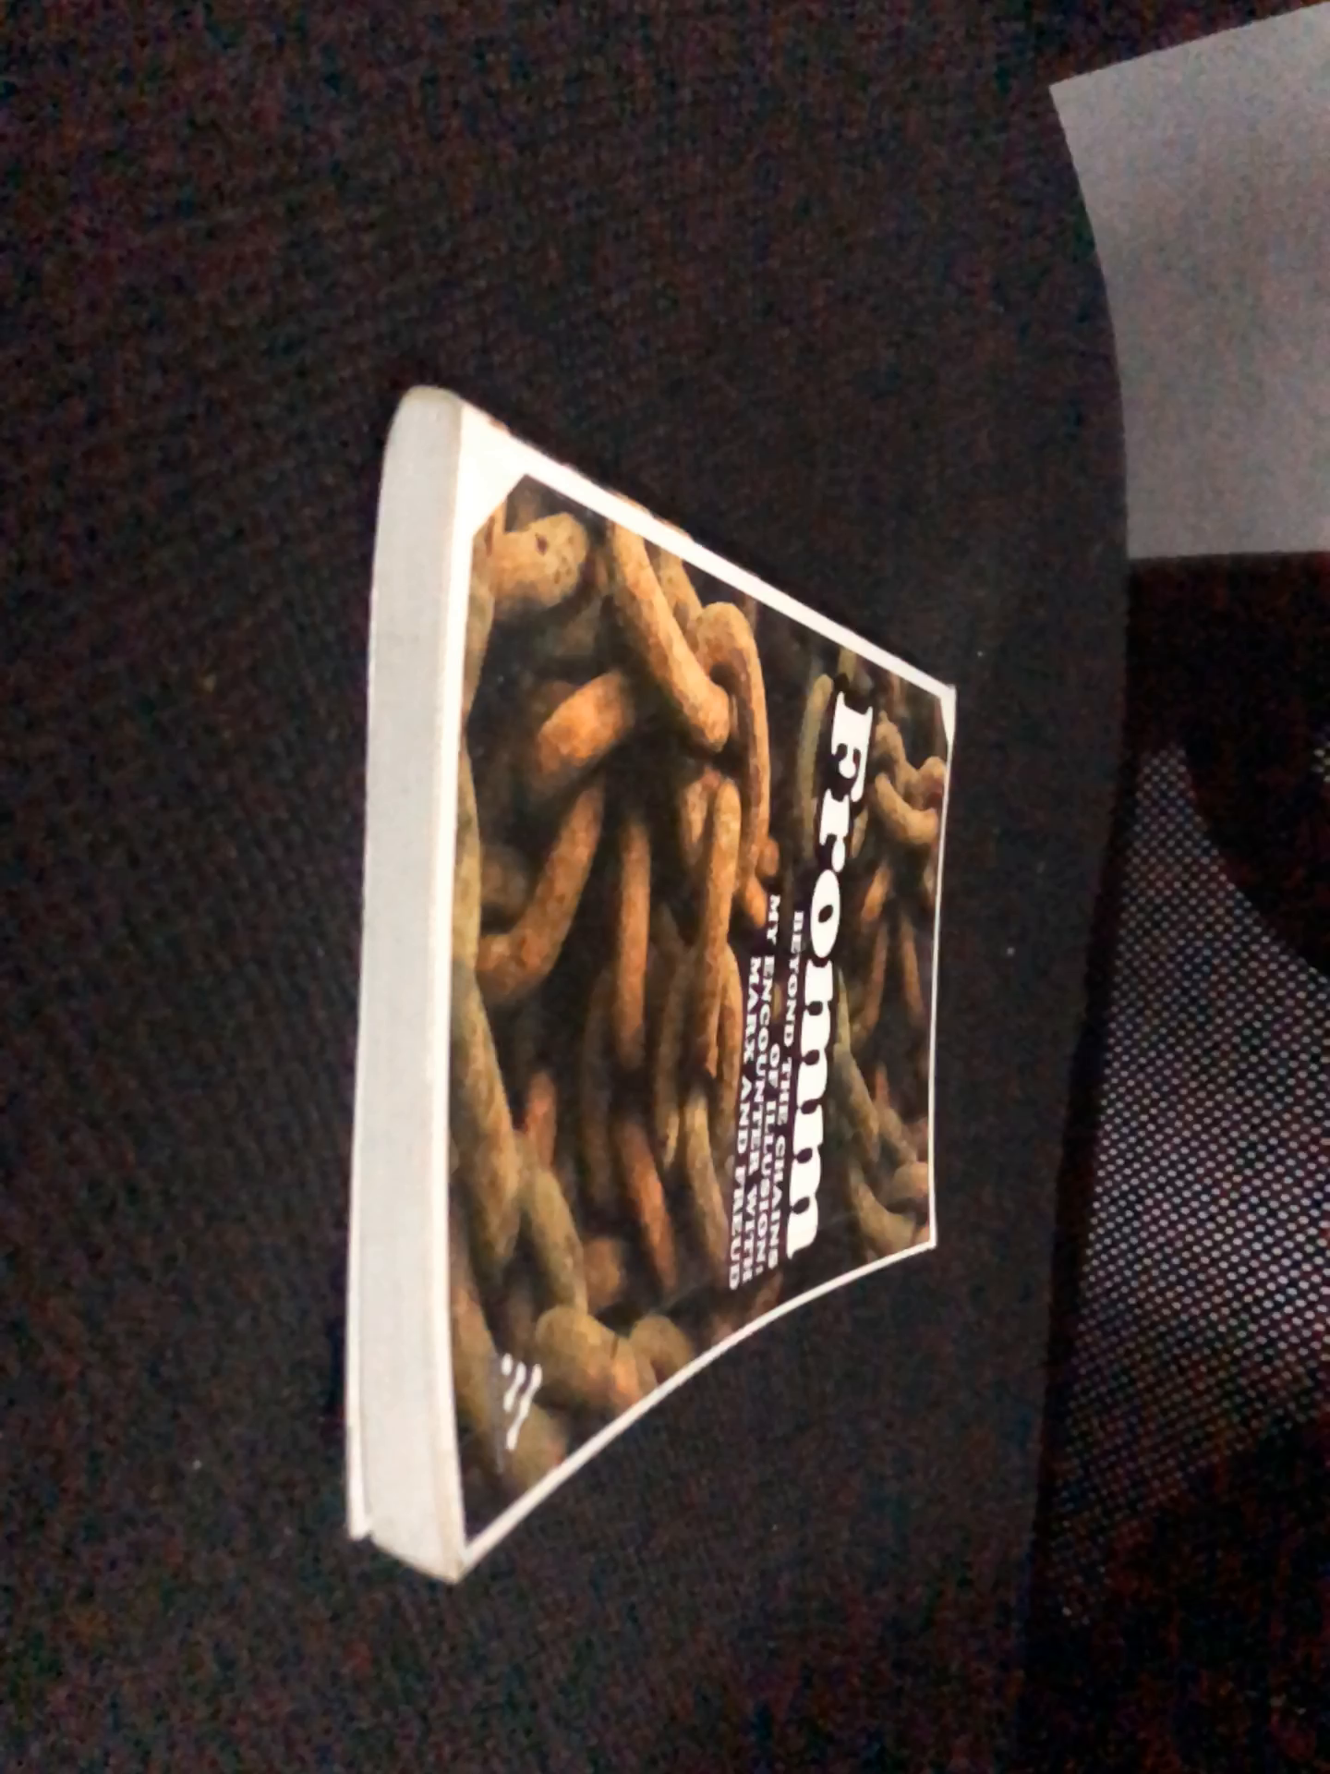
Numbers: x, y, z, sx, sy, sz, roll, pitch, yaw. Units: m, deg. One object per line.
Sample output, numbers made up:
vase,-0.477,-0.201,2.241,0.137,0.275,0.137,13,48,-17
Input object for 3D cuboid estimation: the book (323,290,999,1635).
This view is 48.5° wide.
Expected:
book,0.019,0.013,0.247,0.196,0.016,0.144,8,82,-60
